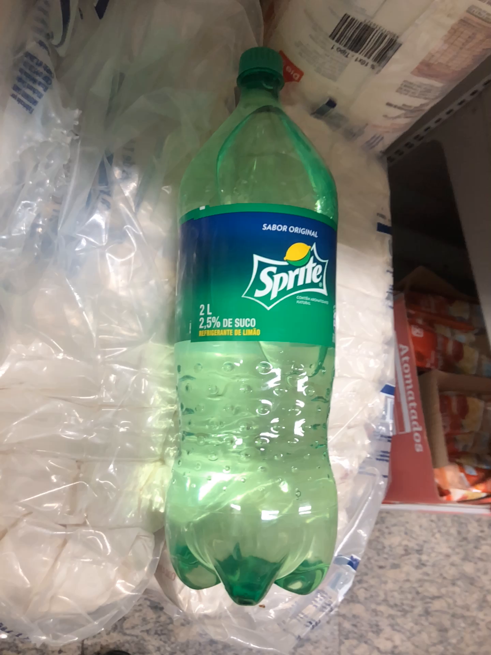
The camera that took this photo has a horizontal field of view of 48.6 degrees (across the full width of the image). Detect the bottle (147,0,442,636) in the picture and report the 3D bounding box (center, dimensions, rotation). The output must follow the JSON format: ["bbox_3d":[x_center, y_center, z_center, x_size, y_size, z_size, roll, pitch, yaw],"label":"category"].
[{"bbox_3d":[0.012,-0.042,0.340,0.110,0.109,0.380,5,73,-29],"label":"bottle"}]
